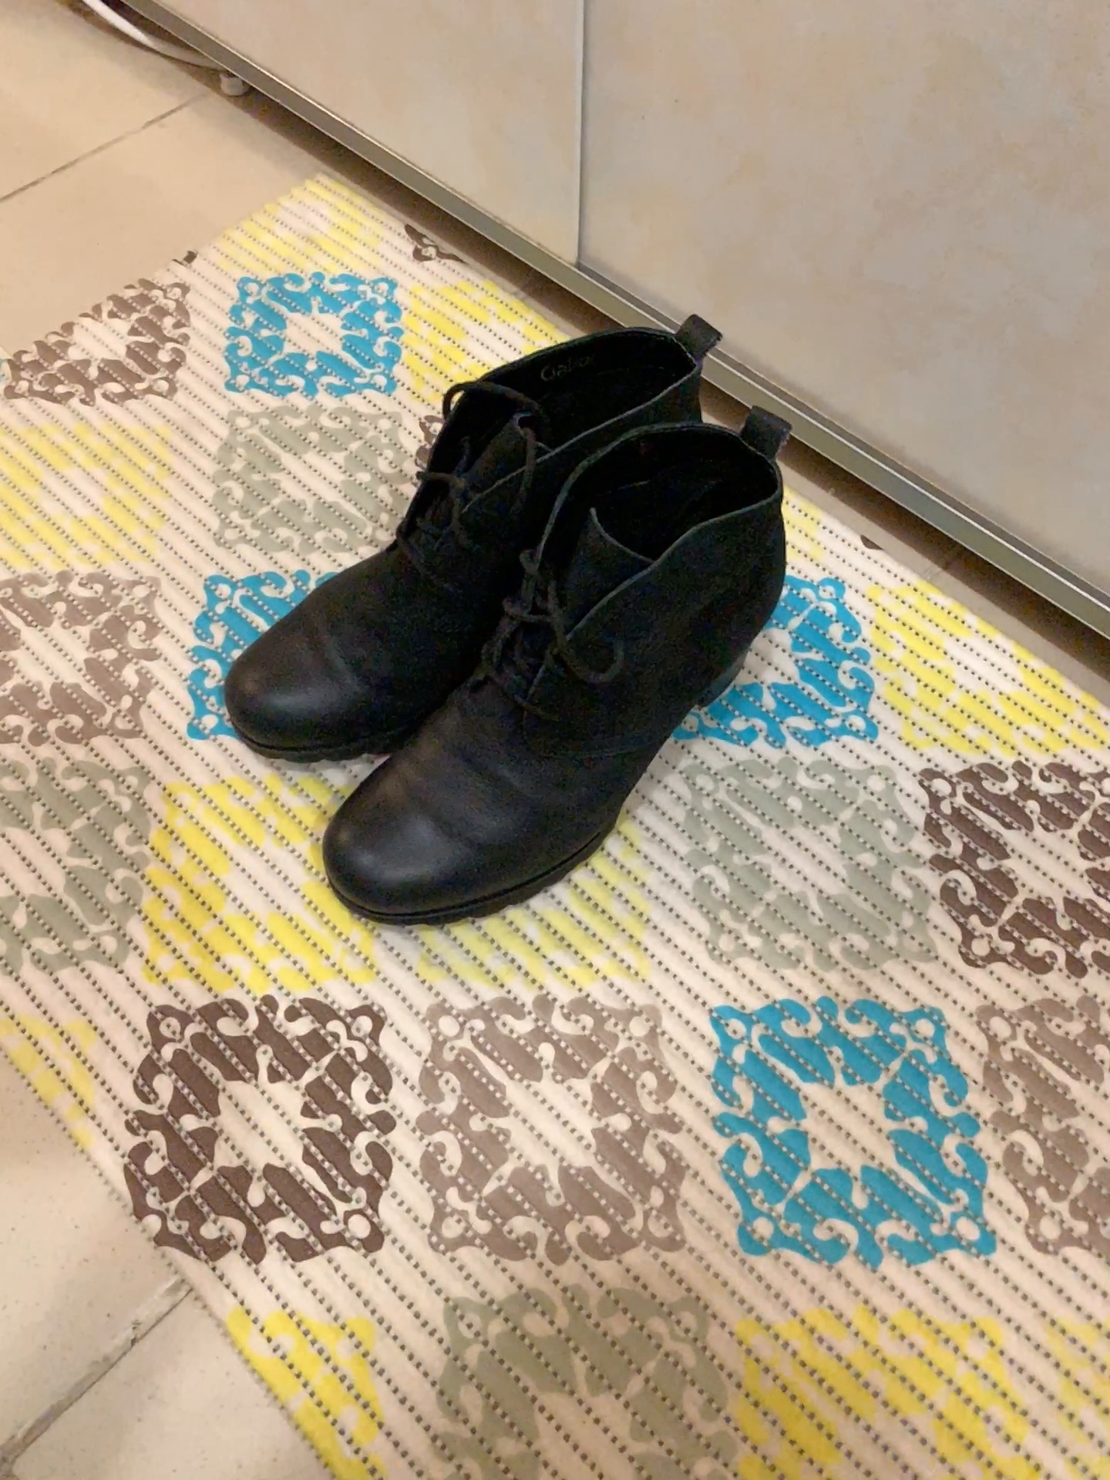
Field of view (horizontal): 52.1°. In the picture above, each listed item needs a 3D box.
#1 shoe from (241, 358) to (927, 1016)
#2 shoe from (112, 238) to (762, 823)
[{"bbox_3d":[0.015,-0.017,0.453,0.230,0.150,0.090,-36,67,-18],"label":"shoe"},{"bbox_3d":[-0.041,-0.087,0.493,0.230,0.150,0.090,-30,66,-16],"label":"shoe"}]
